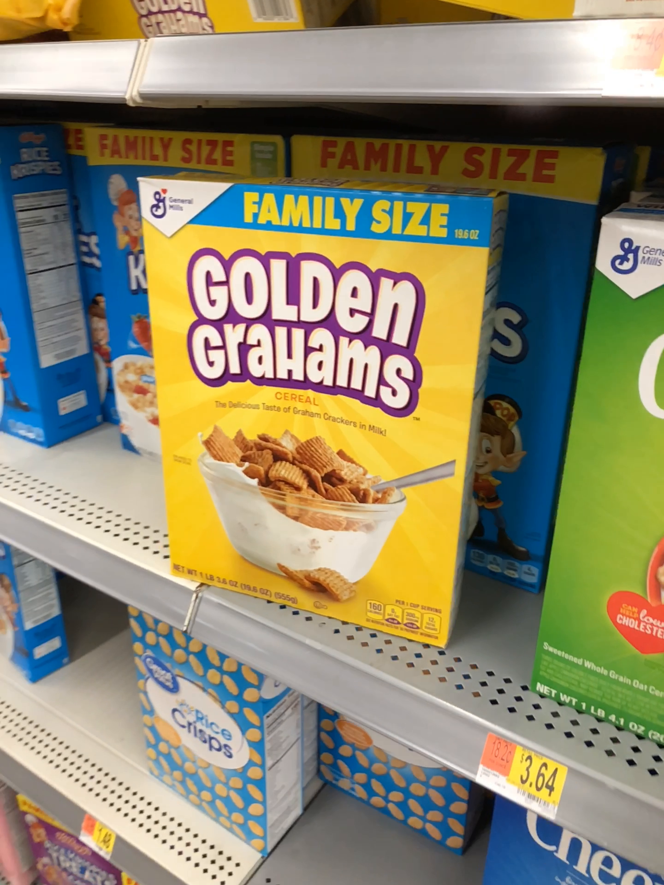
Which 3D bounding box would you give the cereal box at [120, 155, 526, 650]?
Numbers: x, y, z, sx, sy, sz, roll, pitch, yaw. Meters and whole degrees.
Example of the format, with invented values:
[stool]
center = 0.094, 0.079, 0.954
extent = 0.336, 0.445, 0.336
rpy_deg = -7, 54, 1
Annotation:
[cereal box]
center = -0.010, -0.029, 0.516
extent = 0.240, 0.309, 0.070
rpy_deg = 10, 27, 20
